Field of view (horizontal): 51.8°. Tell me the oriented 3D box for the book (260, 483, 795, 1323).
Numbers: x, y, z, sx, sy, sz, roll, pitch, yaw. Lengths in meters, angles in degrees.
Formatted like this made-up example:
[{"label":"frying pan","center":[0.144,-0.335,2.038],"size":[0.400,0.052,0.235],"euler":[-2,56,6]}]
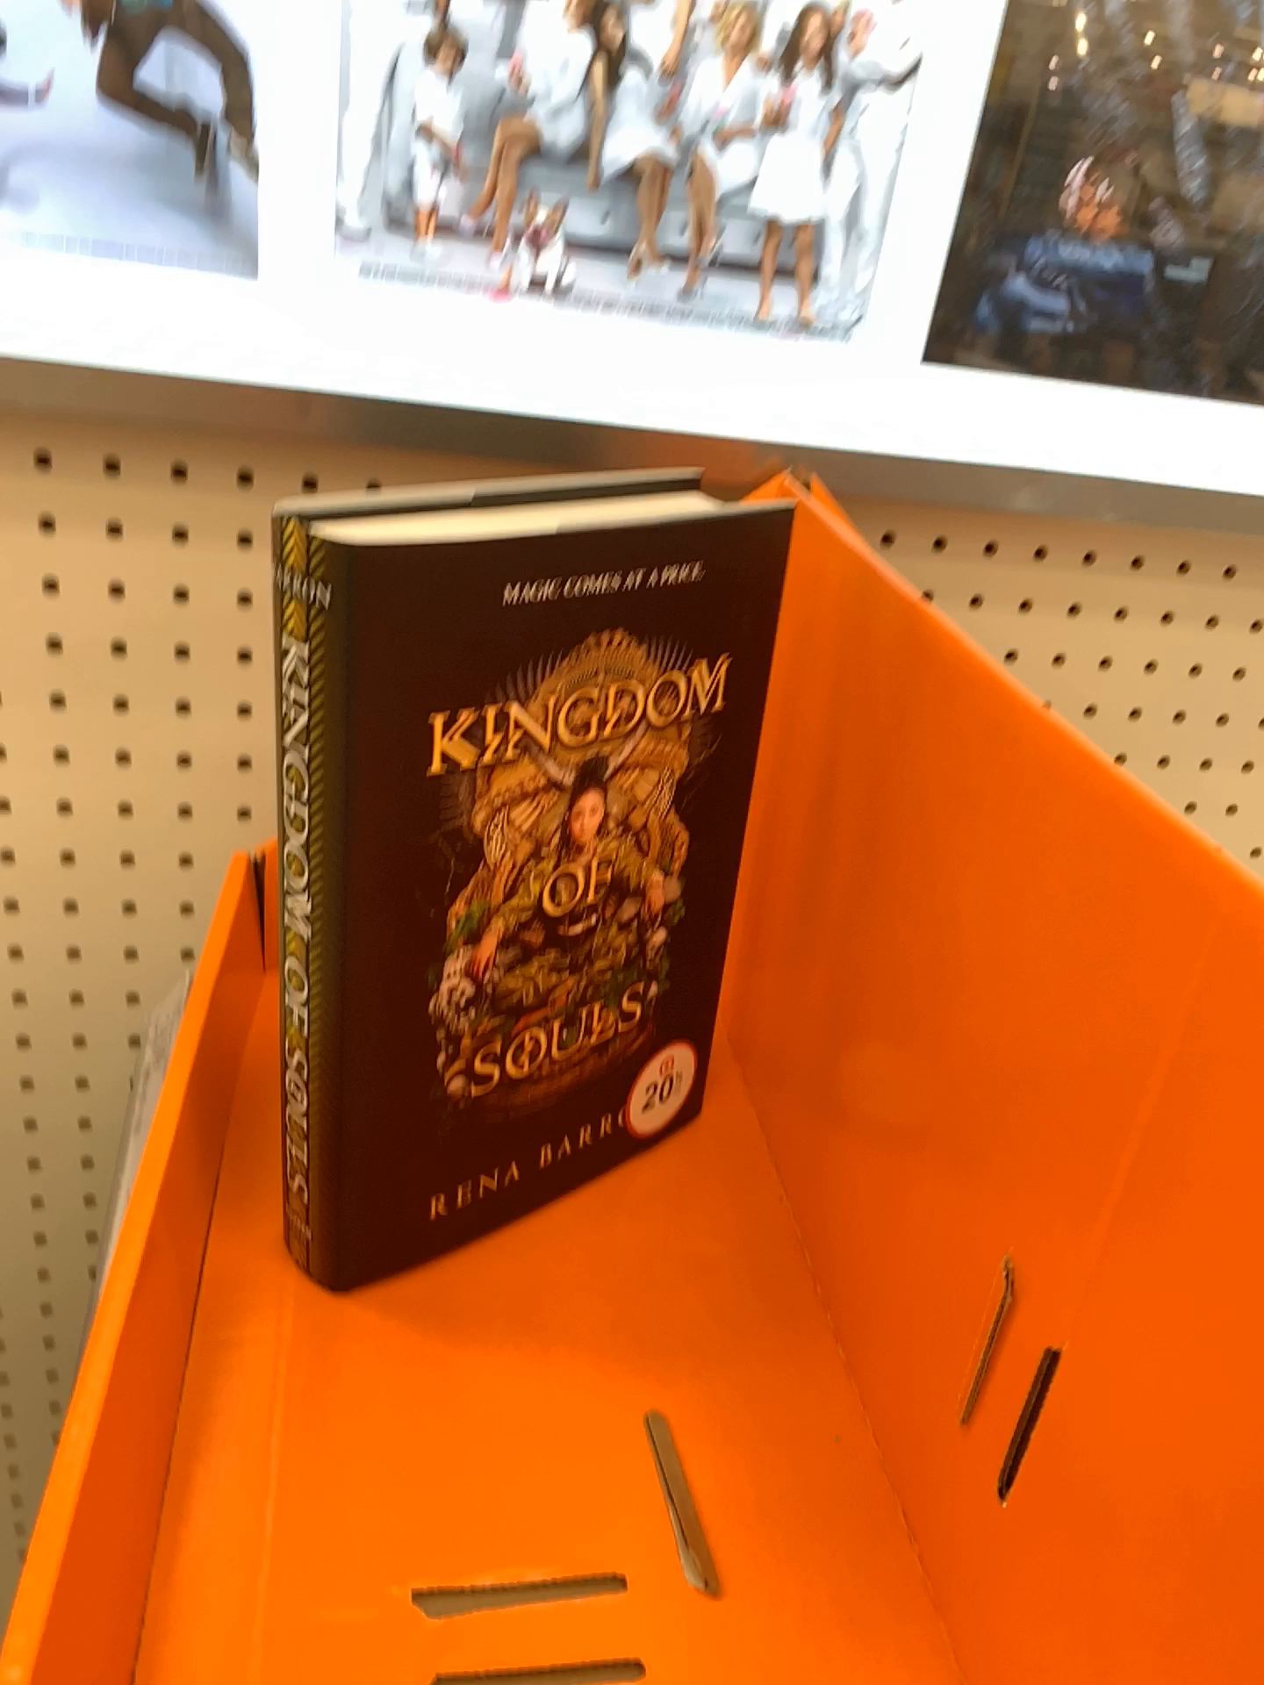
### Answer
[{"label":"book","center":[-0.033,0.015,0.417],"size":[0.160,0.240,0.040],"euler":[-16,32,-40]}]
